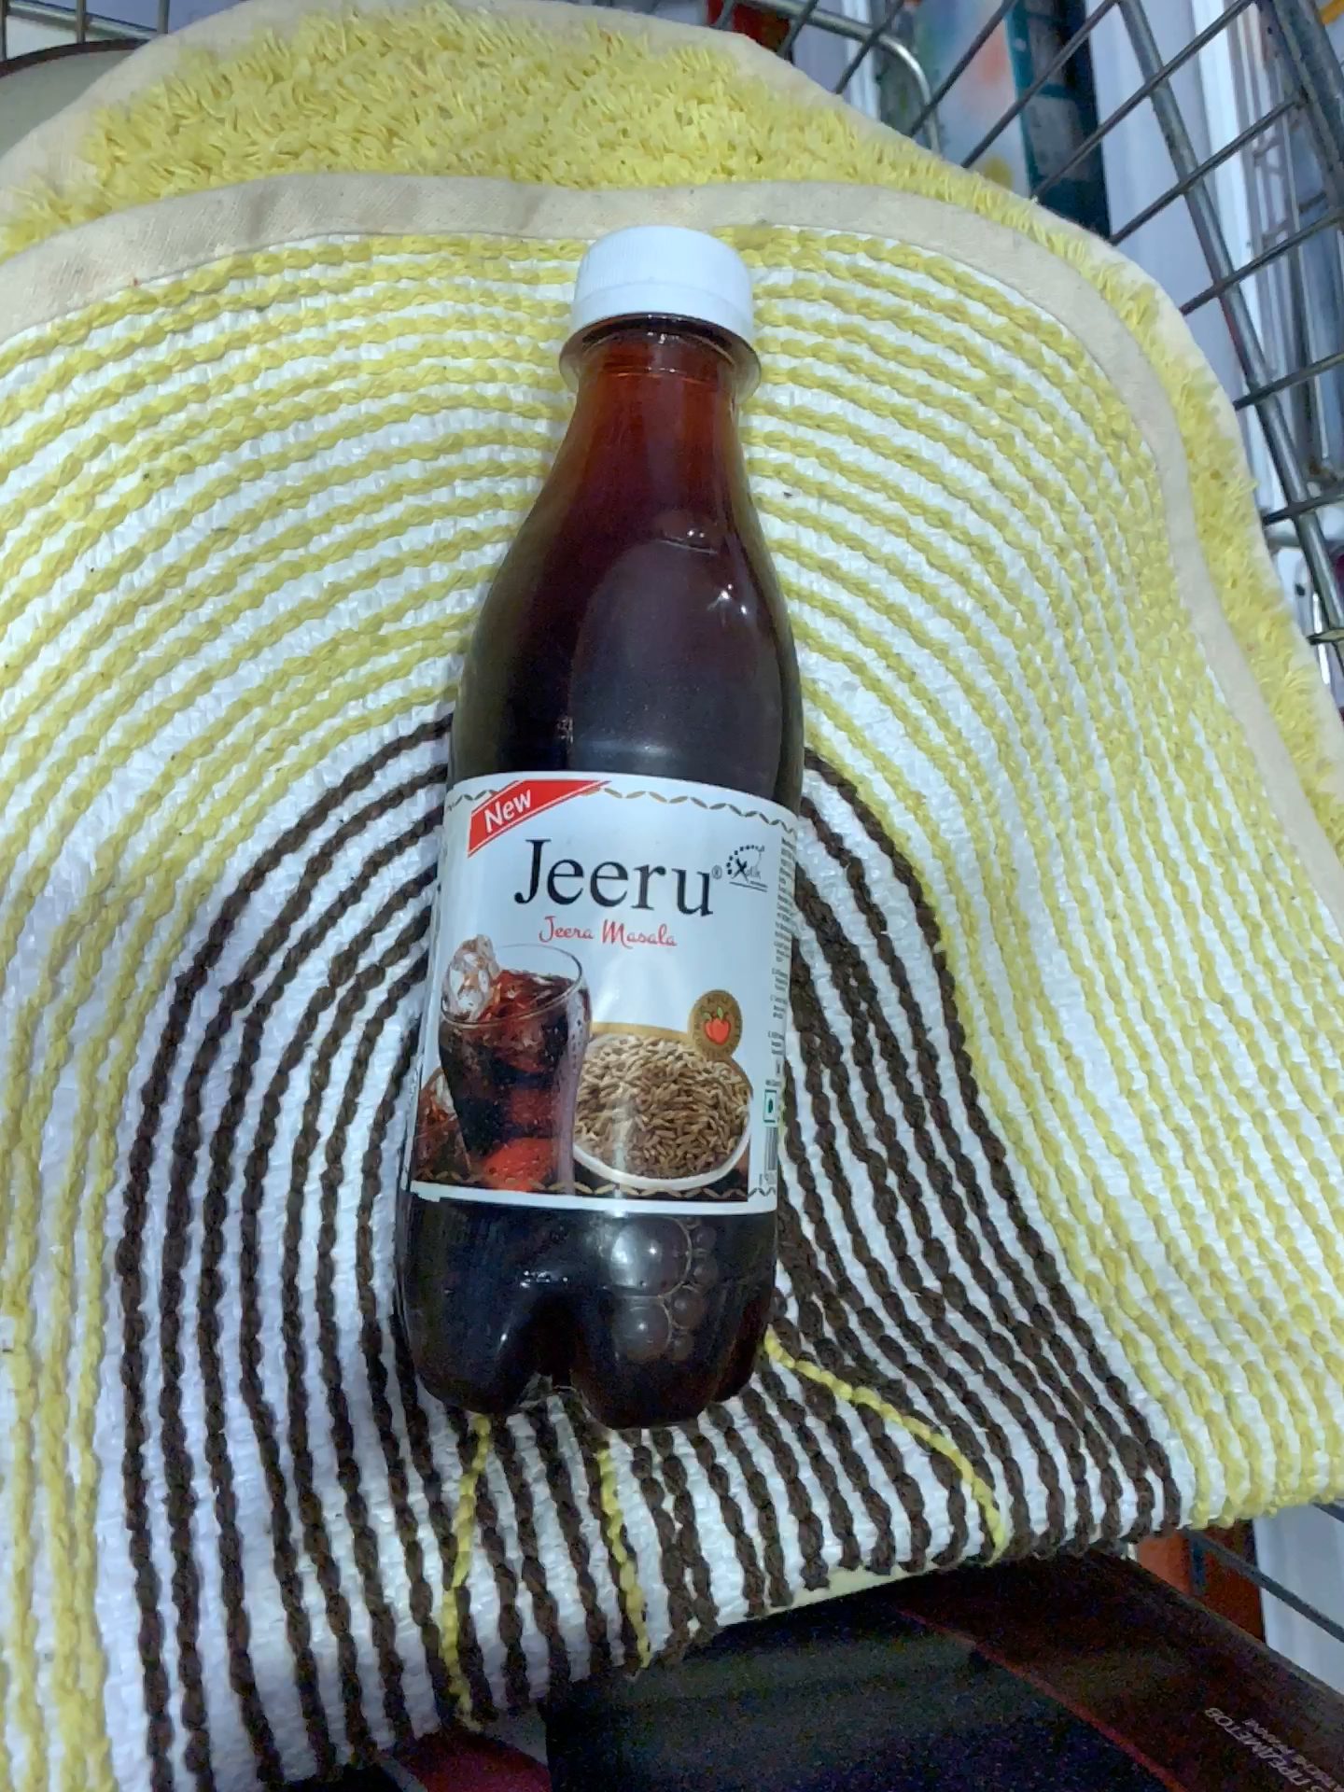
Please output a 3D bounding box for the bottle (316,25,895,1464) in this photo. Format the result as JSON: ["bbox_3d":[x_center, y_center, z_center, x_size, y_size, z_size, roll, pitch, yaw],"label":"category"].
[{"bbox_3d":[-0.010,-0.019,0.205,0.060,0.060,0.180,6,82,-10],"label":"bottle"}]
